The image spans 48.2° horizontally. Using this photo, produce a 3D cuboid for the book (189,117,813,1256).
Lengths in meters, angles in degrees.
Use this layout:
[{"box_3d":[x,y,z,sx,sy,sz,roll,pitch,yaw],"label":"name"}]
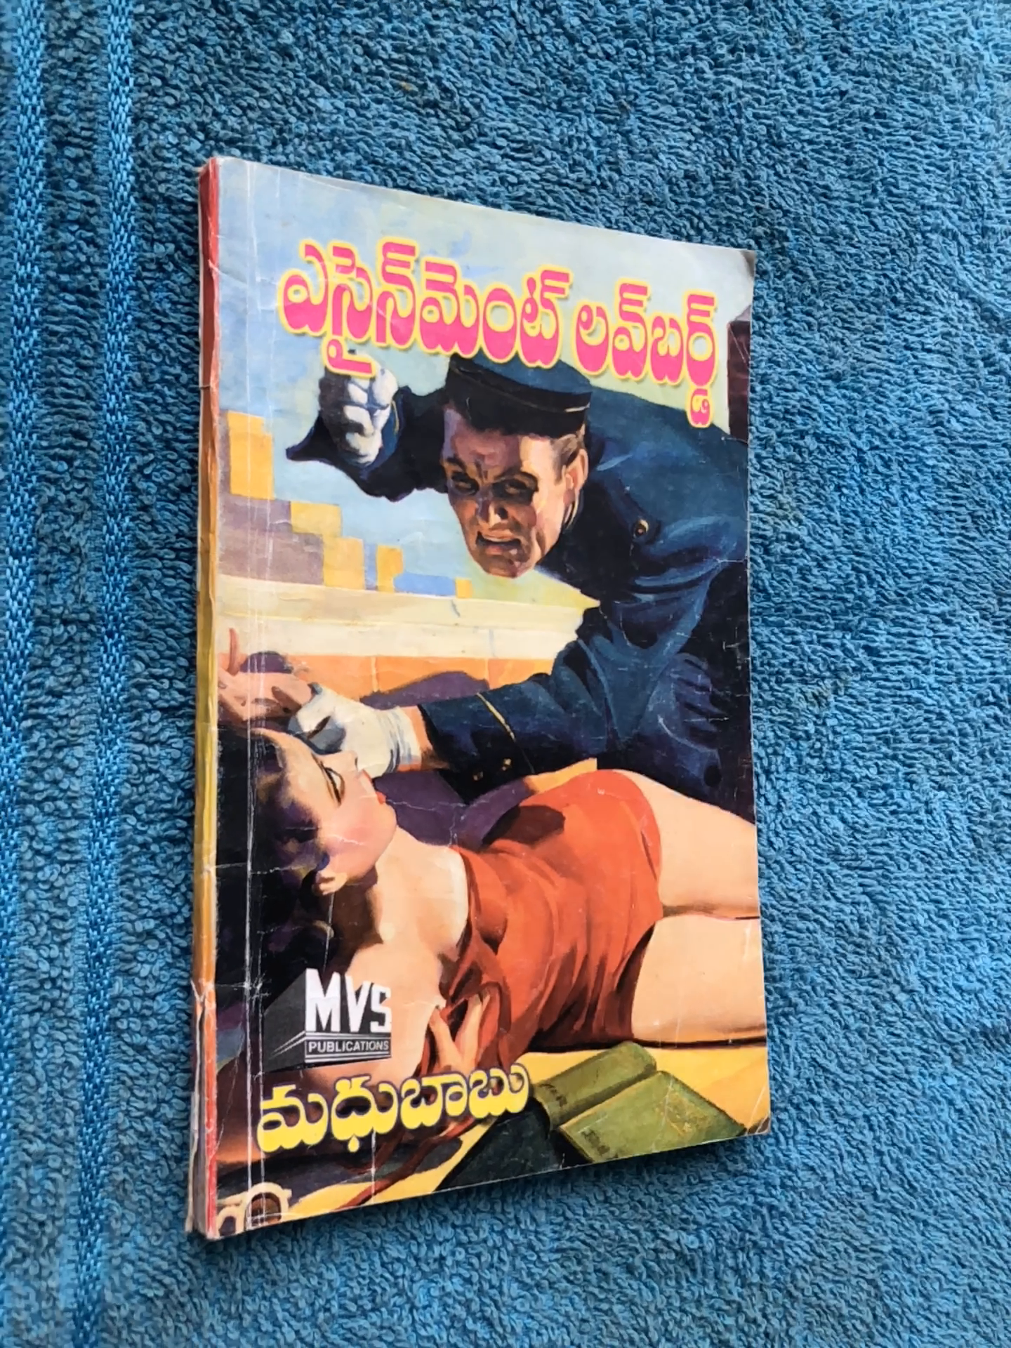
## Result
[{"box_3d":[0.001,0.001,0.193,0.100,0.030,0.160,1,85,-25],"label":"book"}]
